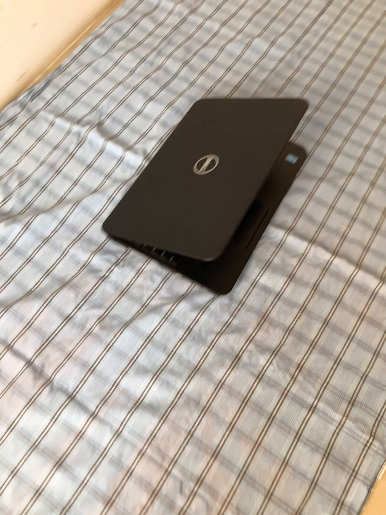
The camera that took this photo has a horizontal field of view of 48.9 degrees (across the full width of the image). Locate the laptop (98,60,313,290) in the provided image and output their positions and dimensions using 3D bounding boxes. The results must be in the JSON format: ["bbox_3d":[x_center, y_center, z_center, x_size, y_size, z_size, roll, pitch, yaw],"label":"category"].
[{"bbox_3d":[0.033,-0.157,0.746,0.223,0.099,0.351,27,66,10],"label":"laptop"}]
